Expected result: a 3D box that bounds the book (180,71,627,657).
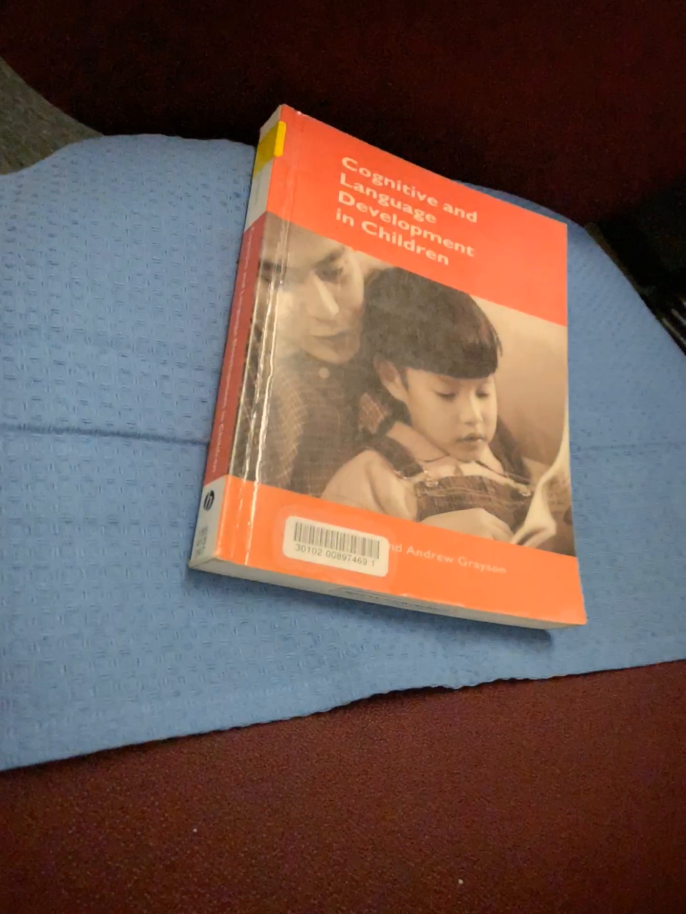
[{"bbox_3d":[0.040,-0.046,0.375,0.200,0.060,0.272,12,67,-18],"label":"book"}]
